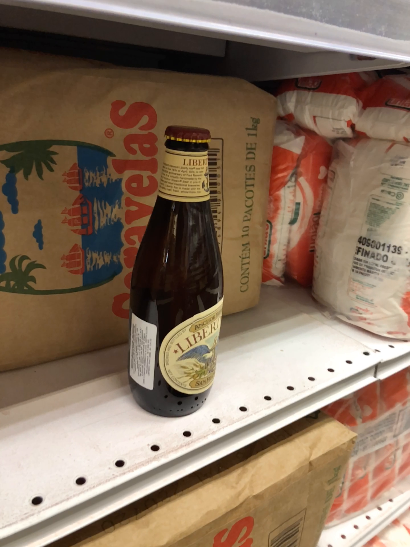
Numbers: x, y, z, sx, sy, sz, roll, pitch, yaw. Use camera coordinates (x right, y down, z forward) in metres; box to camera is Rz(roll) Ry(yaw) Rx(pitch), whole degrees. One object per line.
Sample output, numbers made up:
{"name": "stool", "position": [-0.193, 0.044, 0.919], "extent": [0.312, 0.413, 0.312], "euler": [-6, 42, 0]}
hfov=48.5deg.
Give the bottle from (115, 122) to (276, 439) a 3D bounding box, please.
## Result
{"name": "bottle", "position": [-0.010, 0.001, 0.307], "extent": [0.070, 0.189, 0.070], "euler": [4, 21, -2]}
